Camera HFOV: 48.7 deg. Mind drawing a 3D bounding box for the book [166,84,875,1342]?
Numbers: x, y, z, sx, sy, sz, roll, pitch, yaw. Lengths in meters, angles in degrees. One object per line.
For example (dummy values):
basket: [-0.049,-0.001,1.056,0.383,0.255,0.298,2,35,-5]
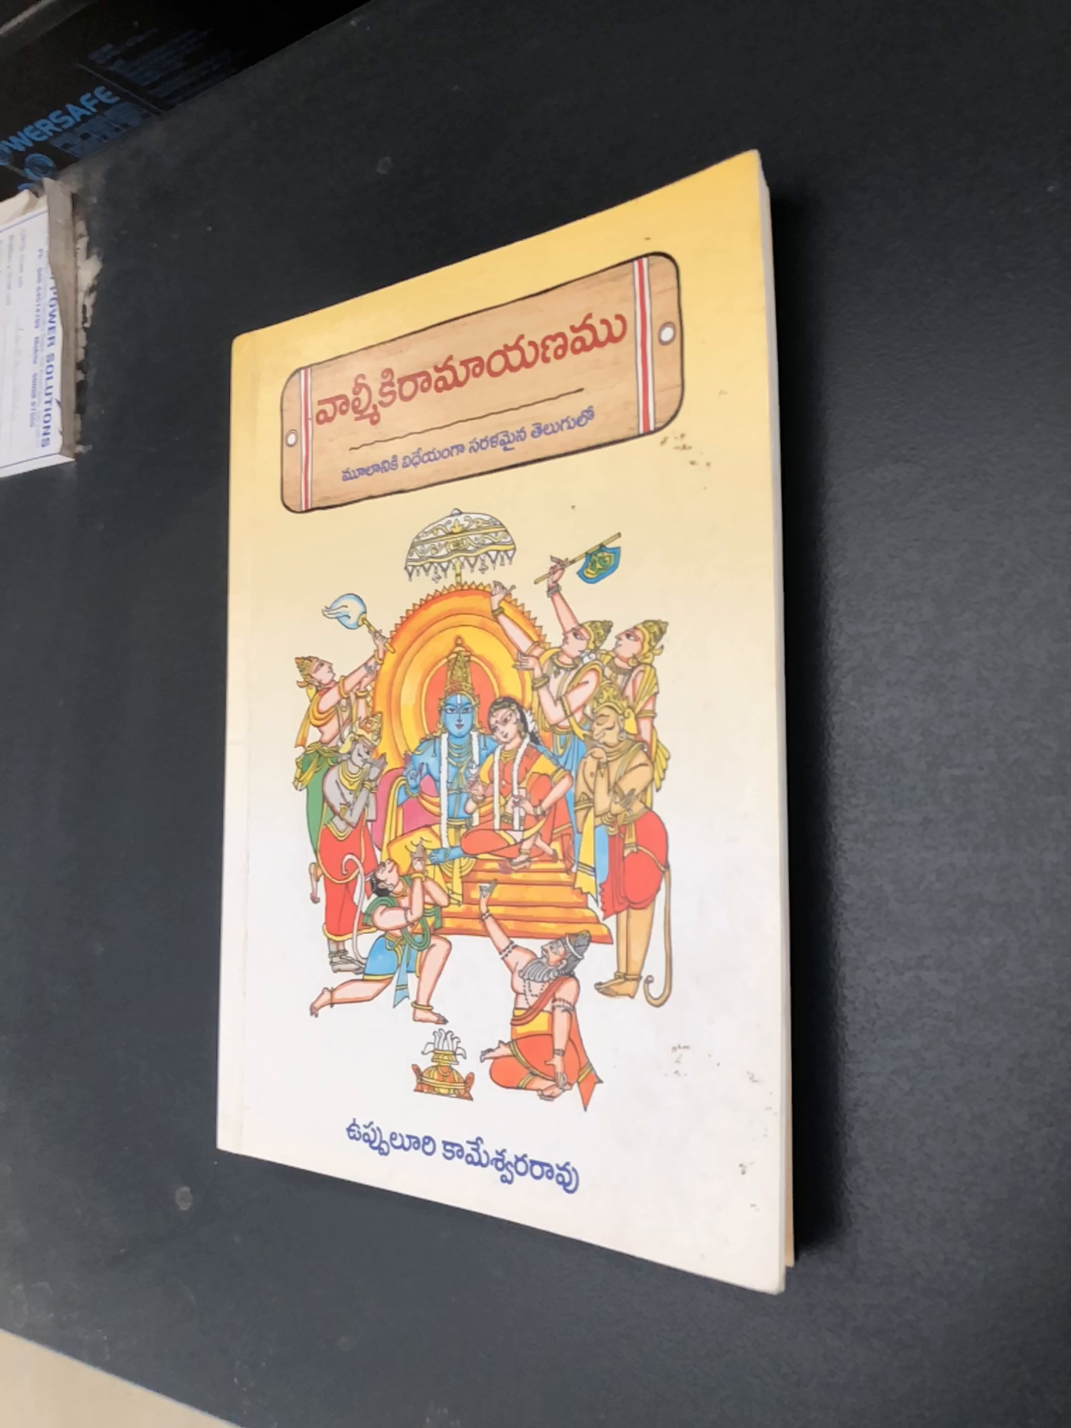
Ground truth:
book: [-0.016,-0.001,0.288,0.191,0.020,0.240,-3,84,35]
